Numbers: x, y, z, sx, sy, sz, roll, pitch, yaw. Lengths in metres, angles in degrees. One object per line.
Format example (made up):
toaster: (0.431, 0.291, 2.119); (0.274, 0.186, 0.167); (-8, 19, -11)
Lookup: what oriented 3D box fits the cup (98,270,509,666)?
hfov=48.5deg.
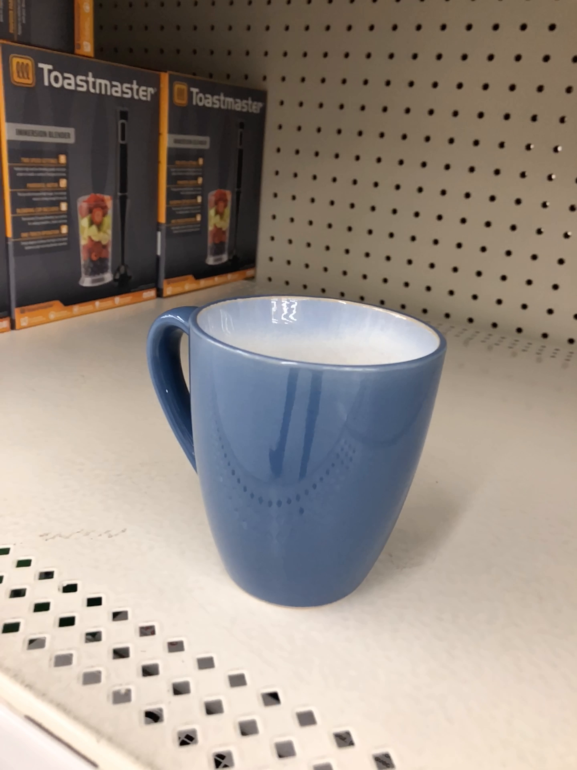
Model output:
cup: (0.005, 0.018, 0.263); (0.128, 0.098, 0.097); (16, 23, 28)
